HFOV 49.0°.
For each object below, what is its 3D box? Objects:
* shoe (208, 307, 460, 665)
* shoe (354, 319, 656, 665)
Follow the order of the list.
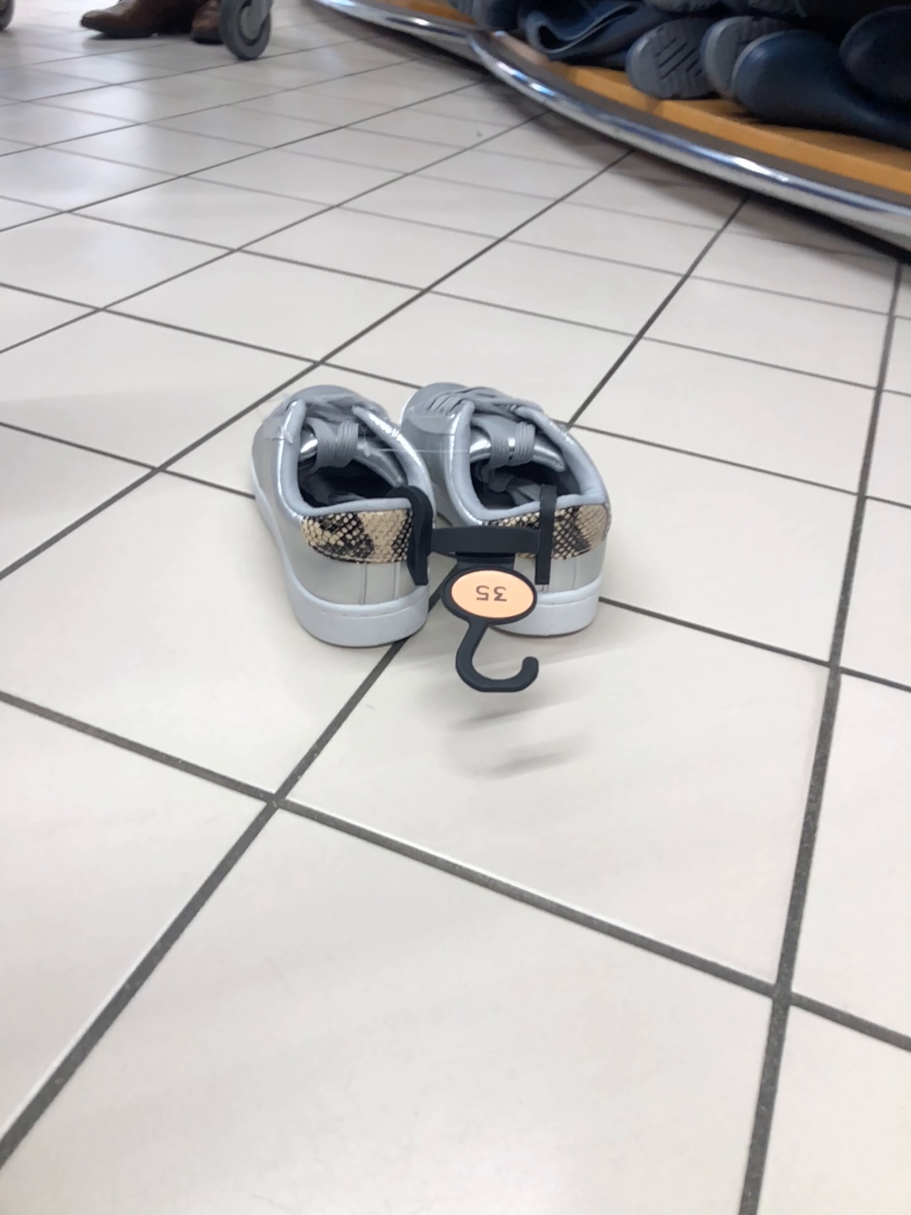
[{"bbox_3d":[-0.077,-0.080,0.549,0.090,0.089,0.231,-6,37,-16],"label":"shoe"},{"bbox_3d":[0.013,-0.080,0.574,0.090,0.089,0.231,-7,37,-17],"label":"shoe"}]
